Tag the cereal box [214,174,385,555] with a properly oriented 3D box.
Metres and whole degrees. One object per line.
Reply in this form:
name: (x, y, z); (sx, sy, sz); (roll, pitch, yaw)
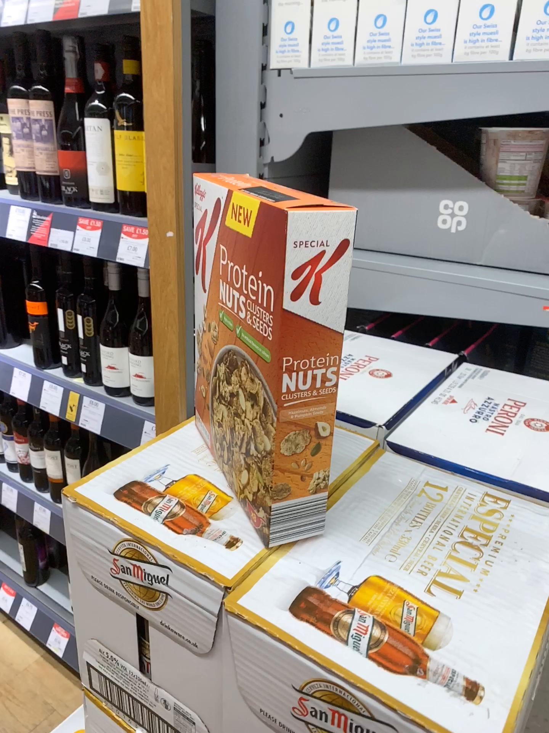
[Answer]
cereal box: (0.002, -0.017, 0.442); (0.050, 0.238, 0.191); (-6, 24, -20)
